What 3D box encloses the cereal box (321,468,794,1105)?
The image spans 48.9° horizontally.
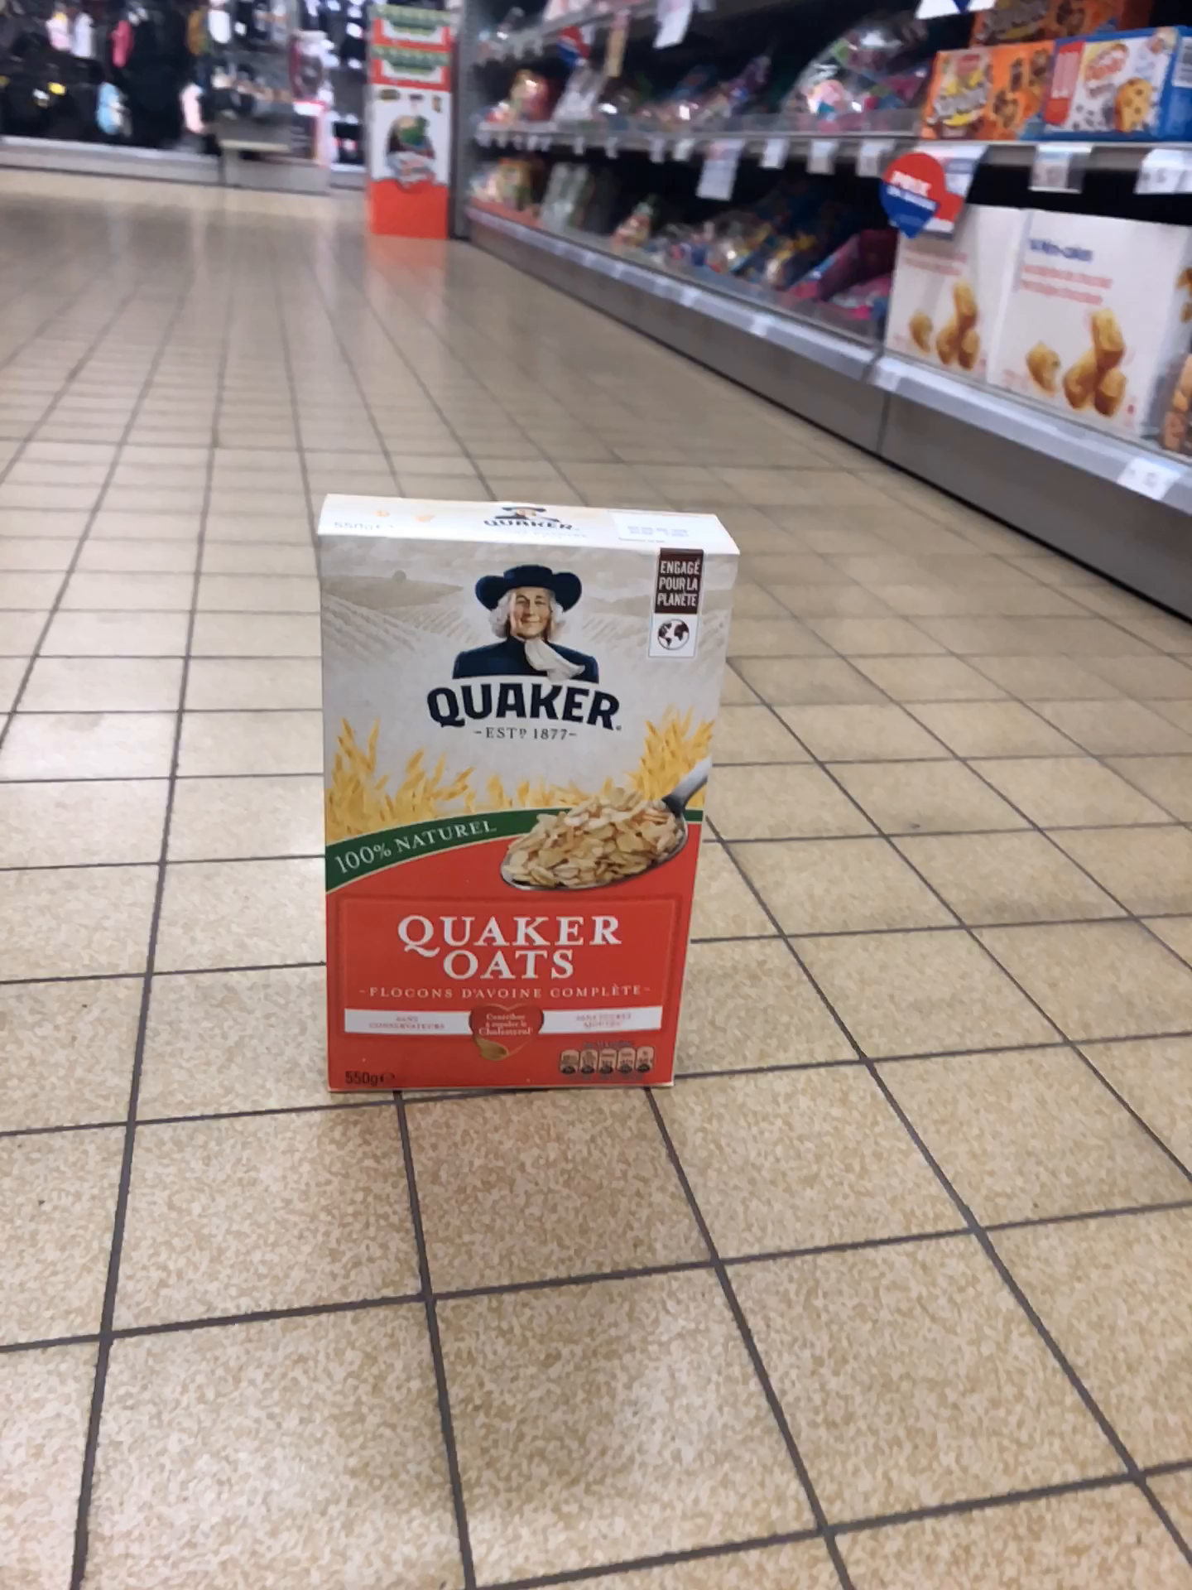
[{"bbox_3d":[-0.022,0.005,0.484,0.150,0.229,0.050,2,25,-7],"label":"cereal box"}]
